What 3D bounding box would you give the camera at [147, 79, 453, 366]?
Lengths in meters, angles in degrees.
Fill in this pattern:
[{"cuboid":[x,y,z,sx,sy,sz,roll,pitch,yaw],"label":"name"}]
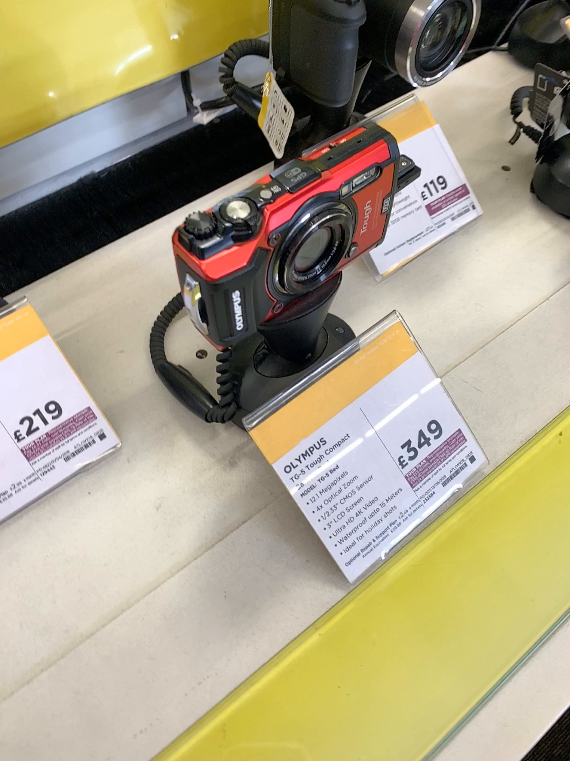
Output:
[{"cuboid":[0.009,-0.068,0.249,0.120,0.060,0.040,-36,64,-20],"label":"camera"}]
